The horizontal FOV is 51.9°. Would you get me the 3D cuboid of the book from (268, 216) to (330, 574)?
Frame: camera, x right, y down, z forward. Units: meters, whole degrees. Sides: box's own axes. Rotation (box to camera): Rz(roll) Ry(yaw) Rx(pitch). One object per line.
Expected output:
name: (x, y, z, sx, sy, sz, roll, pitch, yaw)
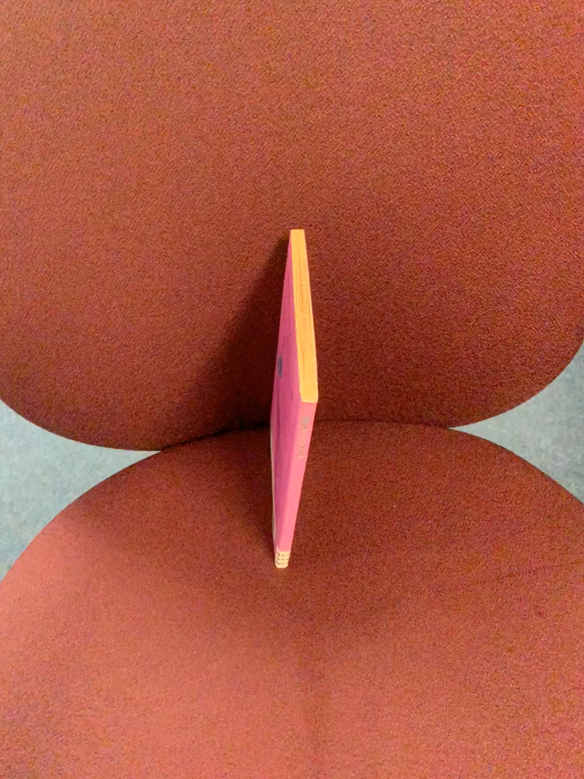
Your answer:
book: (-0.002, 0.011, 0.387, 0.017, 0.189, 0.142, 1, 50, -5)
